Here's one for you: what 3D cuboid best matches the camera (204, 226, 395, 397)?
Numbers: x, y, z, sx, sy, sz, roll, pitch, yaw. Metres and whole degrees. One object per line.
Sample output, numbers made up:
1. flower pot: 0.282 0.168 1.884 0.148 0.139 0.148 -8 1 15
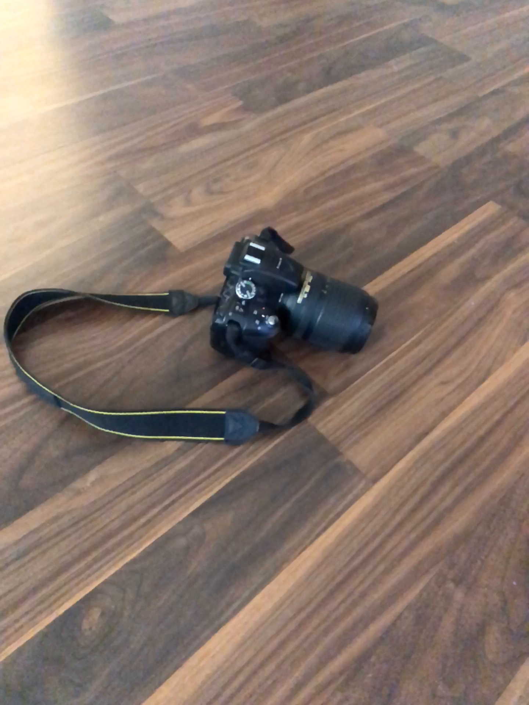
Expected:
1. camera: 0.035 -0.043 0.583 0.160 0.070 0.120 15 50 4
